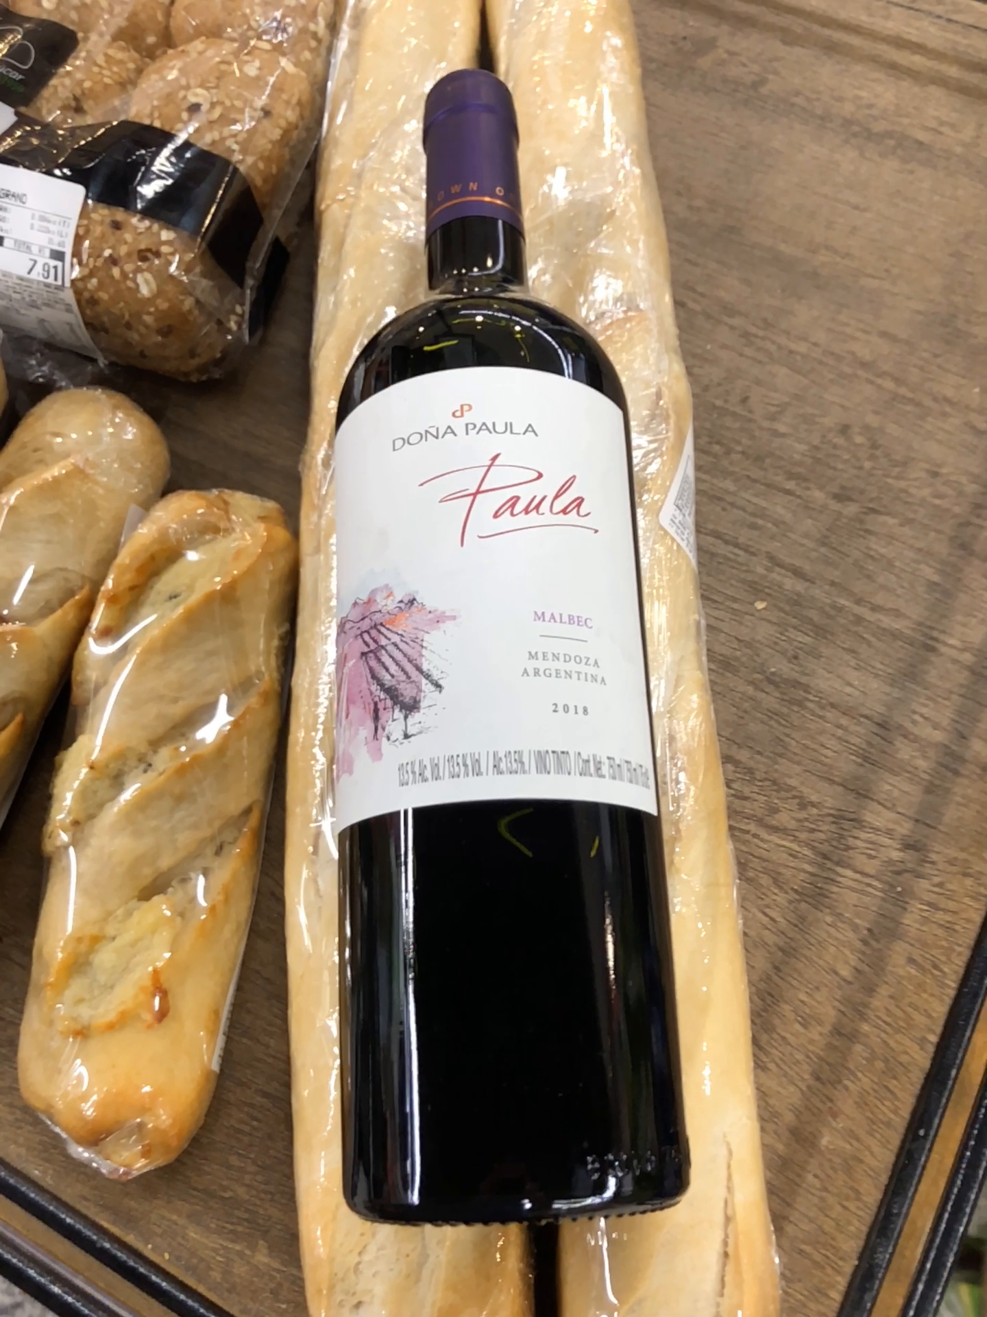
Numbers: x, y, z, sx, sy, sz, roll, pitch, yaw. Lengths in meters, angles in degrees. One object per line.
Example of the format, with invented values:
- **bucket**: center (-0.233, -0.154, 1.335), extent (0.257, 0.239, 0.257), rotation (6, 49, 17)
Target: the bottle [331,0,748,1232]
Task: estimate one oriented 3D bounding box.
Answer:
- **bottle**: center (0.002, -0.034, 0.268), extent (0.070, 0.060, 0.301), rotation (-4, 68, 2)
